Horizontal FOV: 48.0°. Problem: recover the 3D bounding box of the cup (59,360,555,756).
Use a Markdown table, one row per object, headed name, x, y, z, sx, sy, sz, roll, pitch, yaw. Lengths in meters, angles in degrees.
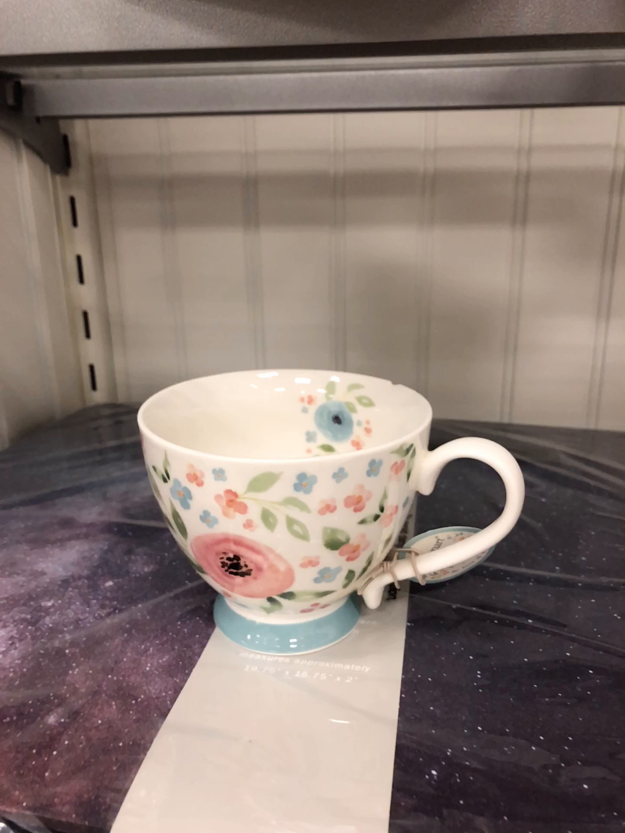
| name | x | y | z | sx | sy | sz | roll | pitch | yaw |
| --- | --- | --- | --- | --- | --- | --- | --- | --- | --- |
| cup | 0.006 | 0.036 | 0.268 | 0.150 | 0.080 | 0.111 | 7 | 20 | 21 |
